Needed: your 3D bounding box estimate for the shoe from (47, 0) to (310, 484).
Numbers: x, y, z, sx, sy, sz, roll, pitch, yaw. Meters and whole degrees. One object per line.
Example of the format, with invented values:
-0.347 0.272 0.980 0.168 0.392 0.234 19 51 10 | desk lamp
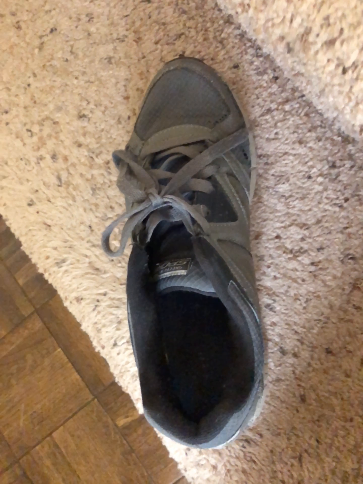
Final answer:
0.004 -0.003 0.282 0.110 0.140 0.300 -8 83 12 | shoe
